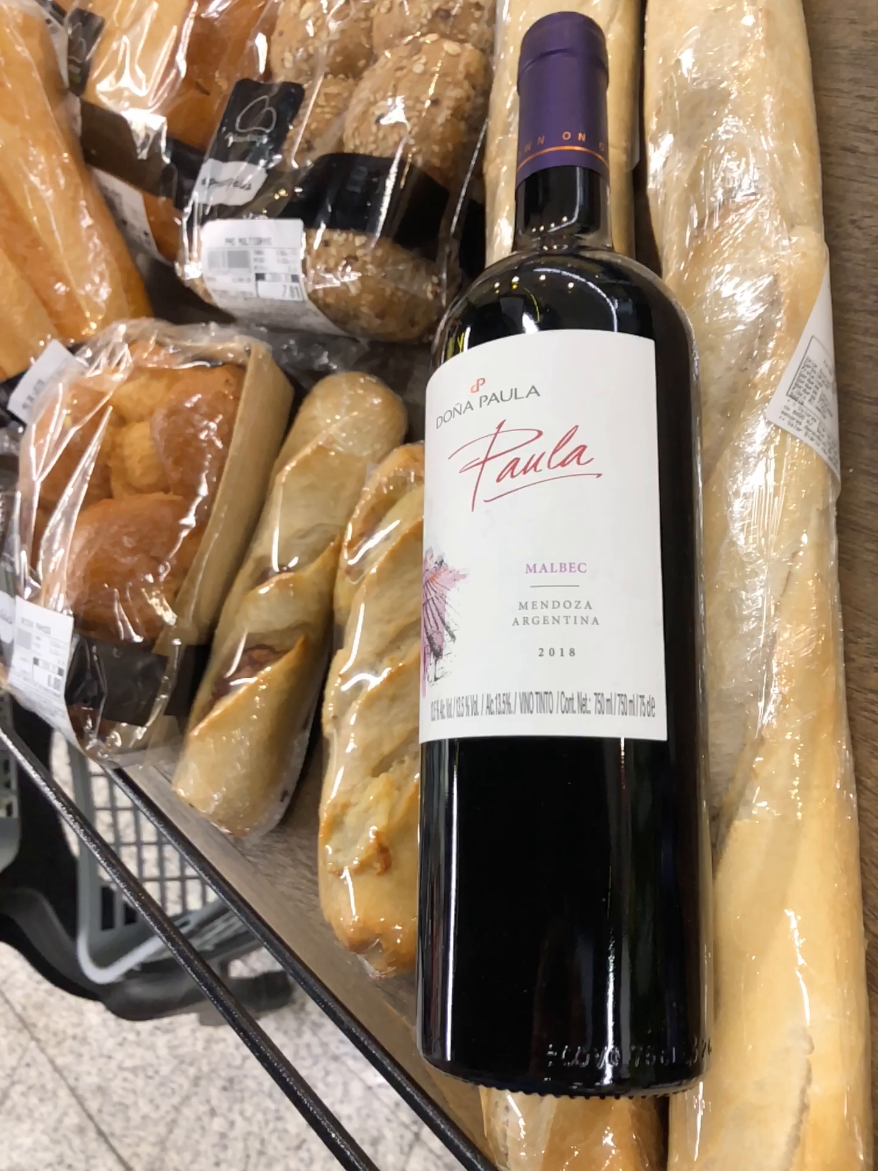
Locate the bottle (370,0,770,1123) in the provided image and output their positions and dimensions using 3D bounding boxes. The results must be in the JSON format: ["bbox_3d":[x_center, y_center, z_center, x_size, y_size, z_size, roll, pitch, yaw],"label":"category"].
[{"bbox_3d":[0.035,-0.035,0.263,0.070,0.060,0.300,-10,71,35],"label":"bottle"}]
